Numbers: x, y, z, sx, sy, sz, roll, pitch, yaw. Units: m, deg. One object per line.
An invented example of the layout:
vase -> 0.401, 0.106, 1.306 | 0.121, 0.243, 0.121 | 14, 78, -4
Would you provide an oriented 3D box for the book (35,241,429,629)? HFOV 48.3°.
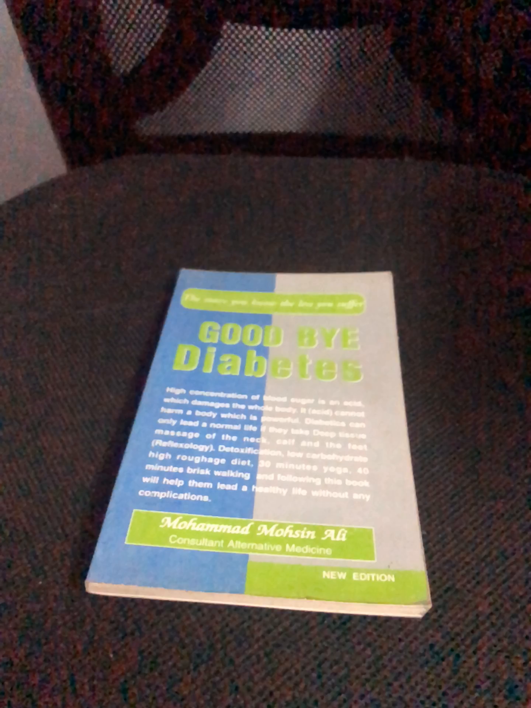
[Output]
book -> -0.005, 0.017, 0.313 | 0.150, 0.020, 0.231 | 3, 45, 3
